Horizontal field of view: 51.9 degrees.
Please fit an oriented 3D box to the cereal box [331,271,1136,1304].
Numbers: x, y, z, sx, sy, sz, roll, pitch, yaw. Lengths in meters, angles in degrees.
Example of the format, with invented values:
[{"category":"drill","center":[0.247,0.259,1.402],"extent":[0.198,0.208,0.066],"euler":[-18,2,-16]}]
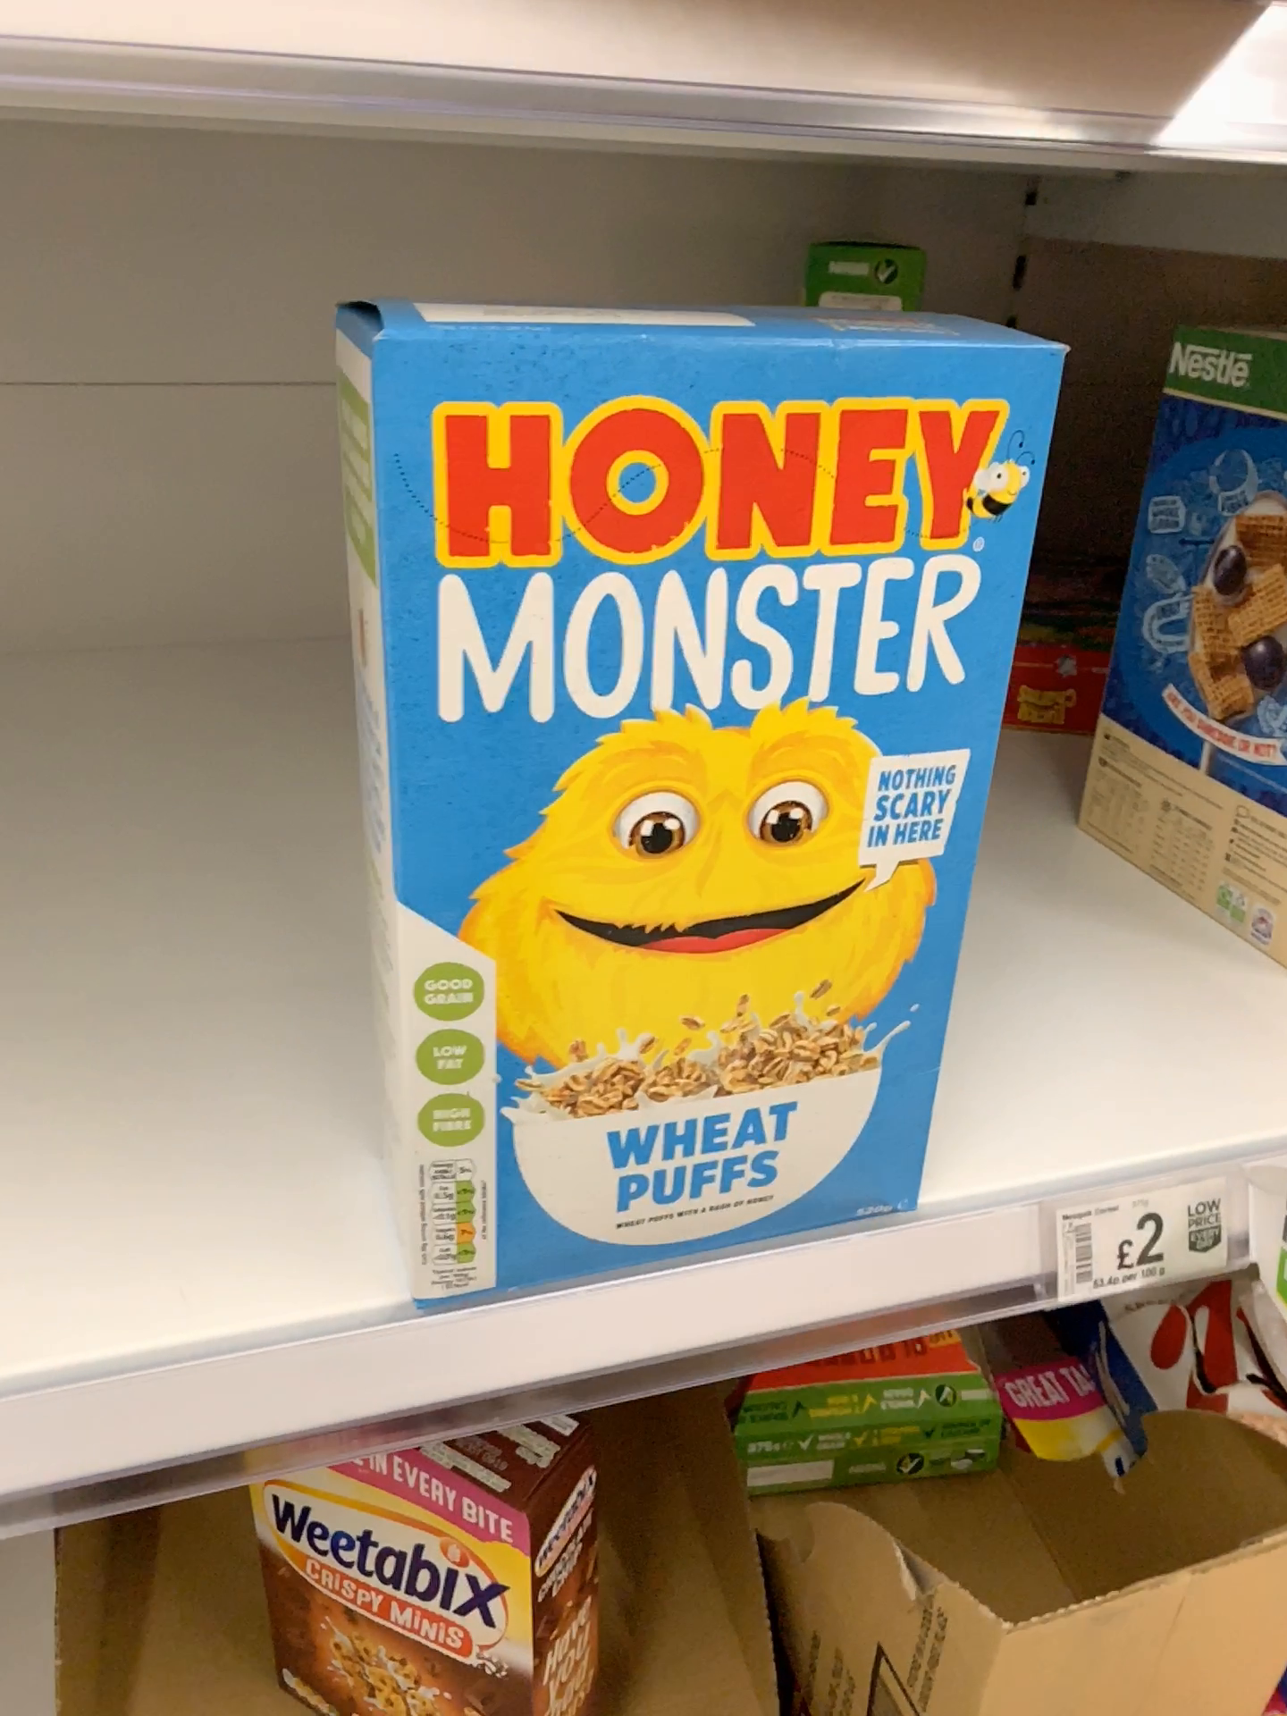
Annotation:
[{"category":"cereal box","center":[0.015,-0.020,0.425],"extent":[0.200,0.297,0.091],"euler":[-5,27,-17]}]
